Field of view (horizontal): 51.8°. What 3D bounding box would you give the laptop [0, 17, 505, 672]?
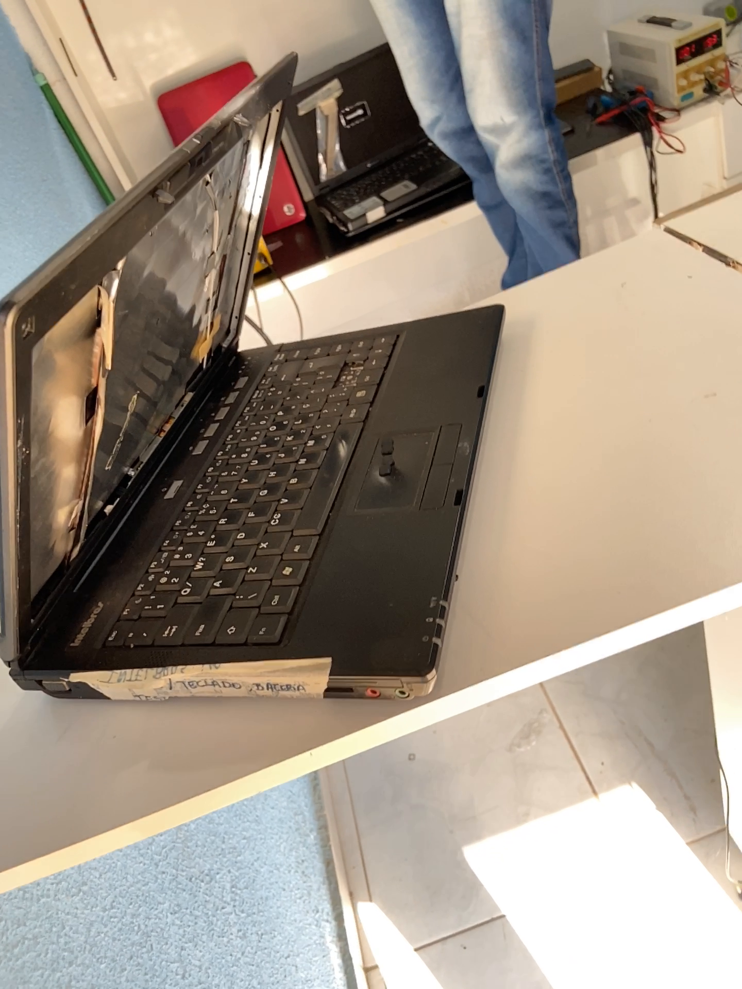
[{"bbox_3d":[-0.075,-0.092,0.429,0.231,0.191,0.324,-6,39,22],"label":"laptop"}]
